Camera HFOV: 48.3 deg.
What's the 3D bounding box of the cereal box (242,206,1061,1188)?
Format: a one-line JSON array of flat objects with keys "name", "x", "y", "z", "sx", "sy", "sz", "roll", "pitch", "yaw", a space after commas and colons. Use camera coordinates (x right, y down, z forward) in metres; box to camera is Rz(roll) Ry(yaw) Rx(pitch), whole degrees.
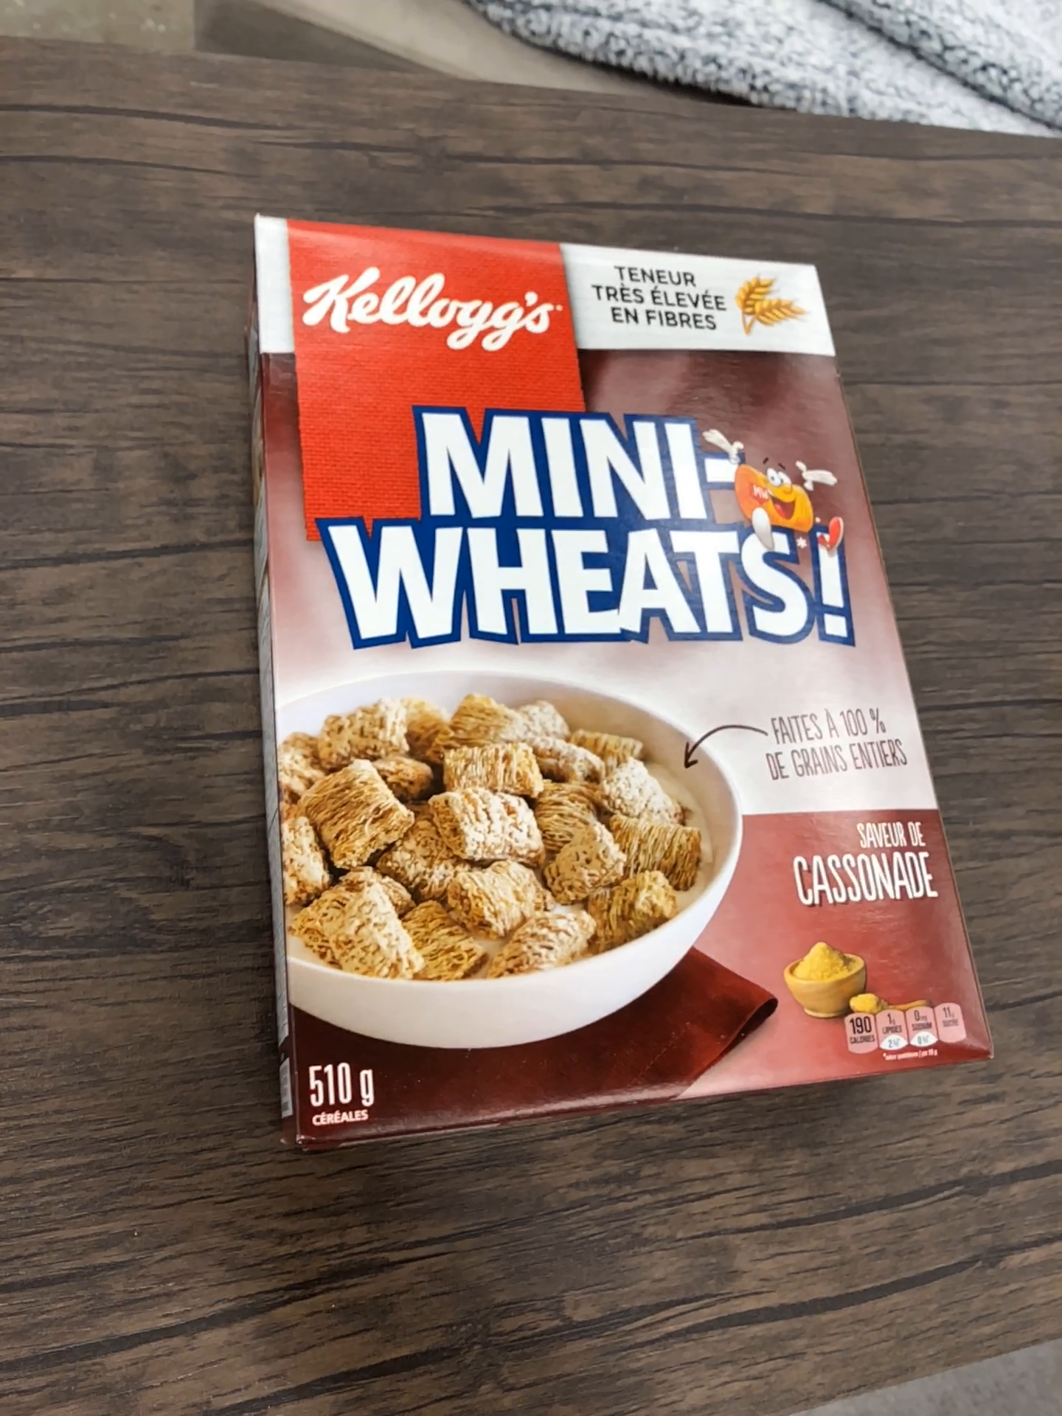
[{"name": "cereal box", "x": 0.028, "y": -0.012, "z": 0.352, "sx": 0.210, "sy": 0.060, "sz": 0.260, "roll": -1, "pitch": 71, "yaw": -17}]
